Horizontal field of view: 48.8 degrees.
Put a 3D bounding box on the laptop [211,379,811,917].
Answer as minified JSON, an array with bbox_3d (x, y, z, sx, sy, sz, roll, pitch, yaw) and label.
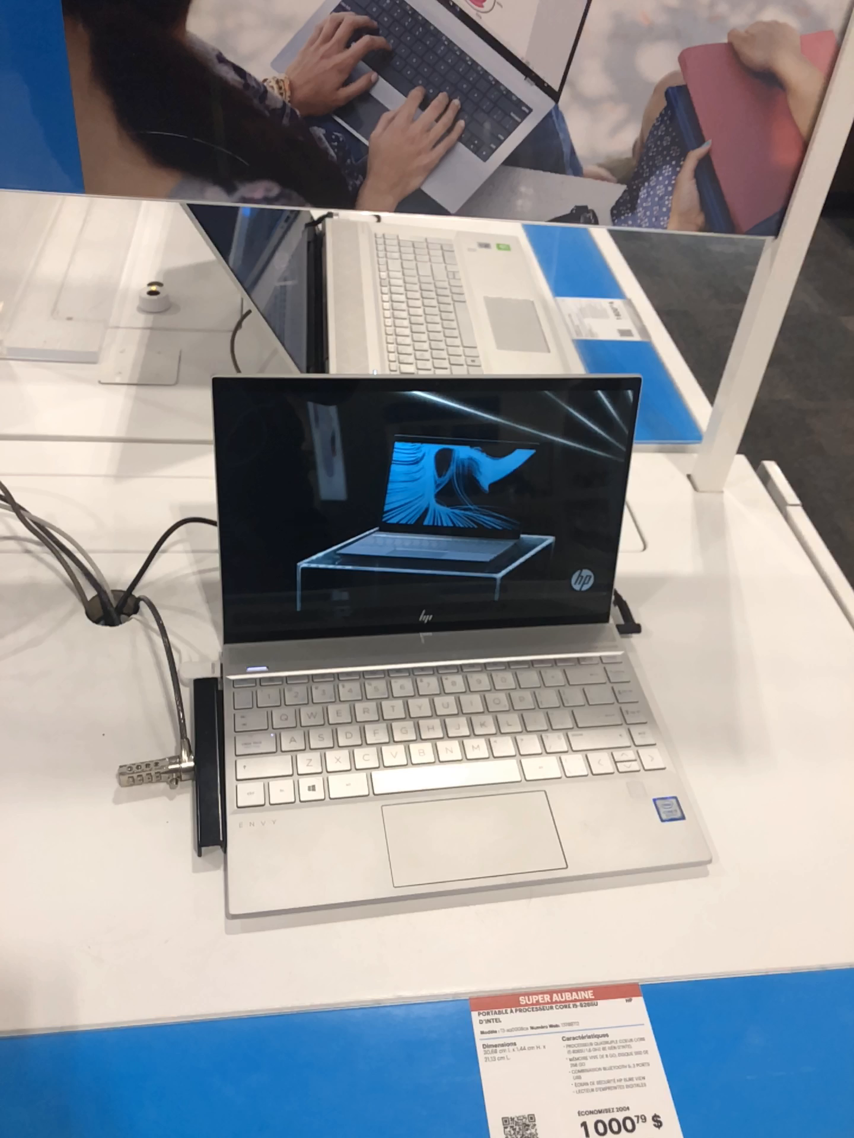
[{"bbox_3d":[0.020,0.031,0.607,0.298,0.182,0.273,-3,43,-12],"label":"laptop"}]
